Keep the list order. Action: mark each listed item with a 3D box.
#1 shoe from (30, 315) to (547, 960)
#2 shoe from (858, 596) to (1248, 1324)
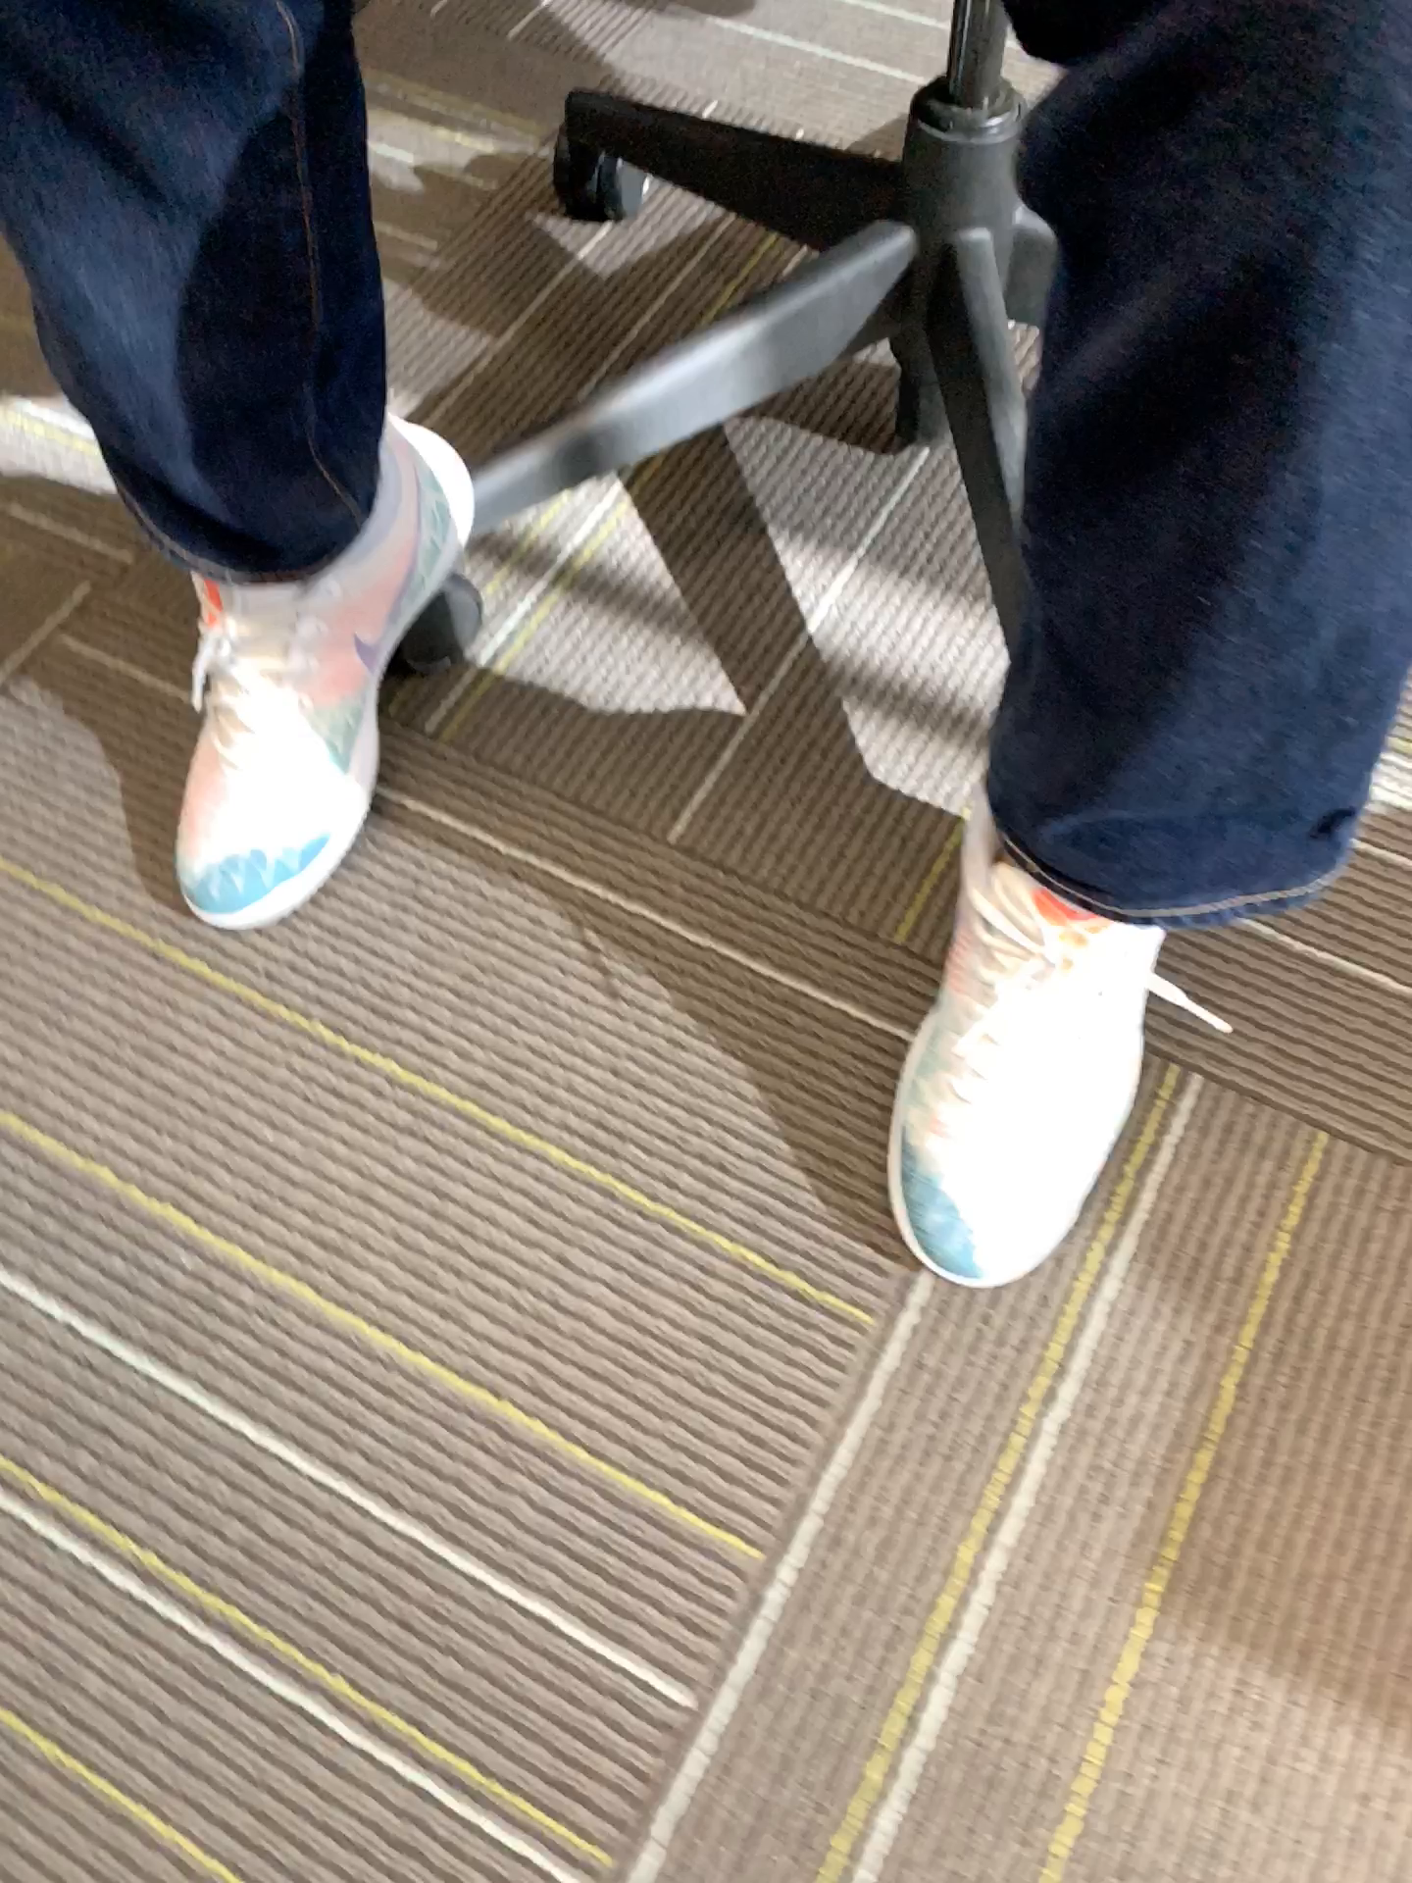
[{"bbox_3d":[-0.201,-0.160,0.752,0.106,0.109,0.303,19,71,12],"label":"shoe"},{"bbox_3d":[0.162,0.008,0.687,0.113,0.109,0.310,12,73,8],"label":"shoe"}]
